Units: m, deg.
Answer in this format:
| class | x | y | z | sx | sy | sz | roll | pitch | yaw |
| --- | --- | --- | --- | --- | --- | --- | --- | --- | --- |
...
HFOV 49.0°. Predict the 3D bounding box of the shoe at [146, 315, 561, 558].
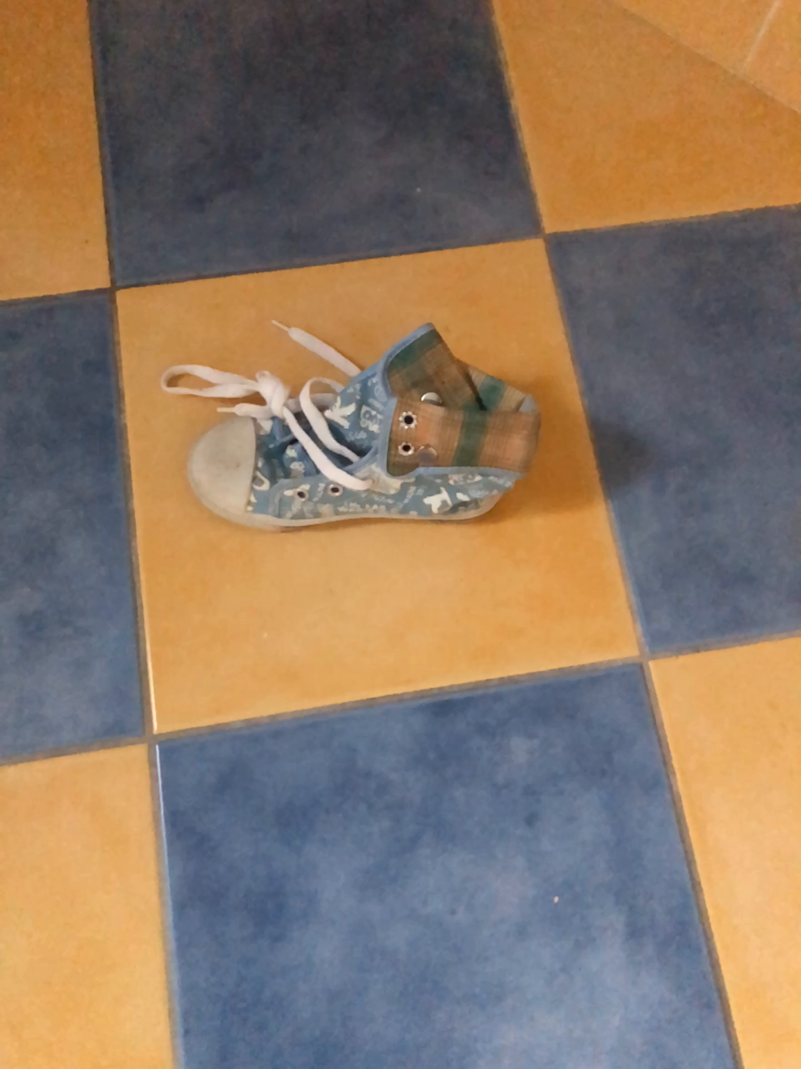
| class | x | y | z | sx | sy | sz | roll | pitch | yaw |
| --- | --- | --- | --- | --- | --- | --- | --- | --- | --- |
| shoe | -0.026 | -0.050 | 0.496 | 0.200 | 0.120 | 0.080 | -5 | 74 | -3 |
